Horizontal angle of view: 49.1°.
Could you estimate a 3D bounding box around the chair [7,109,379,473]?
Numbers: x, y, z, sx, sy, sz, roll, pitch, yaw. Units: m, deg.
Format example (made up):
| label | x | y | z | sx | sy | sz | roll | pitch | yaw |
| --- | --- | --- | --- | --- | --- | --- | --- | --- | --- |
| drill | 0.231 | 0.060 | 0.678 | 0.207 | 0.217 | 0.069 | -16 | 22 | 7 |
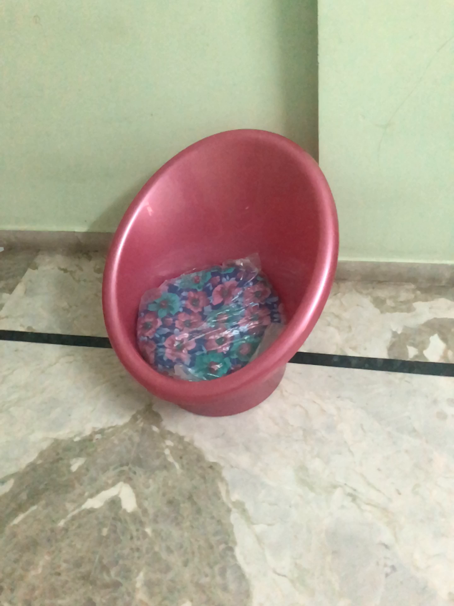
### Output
| label | x | y | z | sx | sy | sz | roll | pitch | yaw |
| --- | --- | --- | --- | --- | --- | --- | --- | --- | --- |
| chair | -0.044 | -0.079 | 1.398 | 0.642 | 0.547 | 0.662 | 25 | 56 | 30 |
